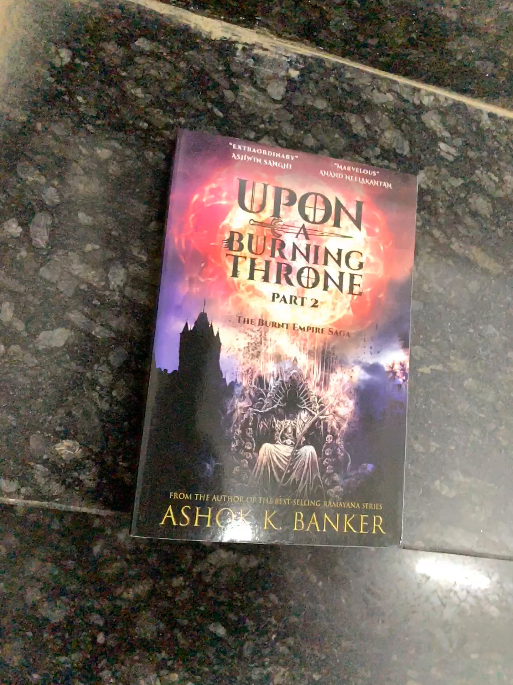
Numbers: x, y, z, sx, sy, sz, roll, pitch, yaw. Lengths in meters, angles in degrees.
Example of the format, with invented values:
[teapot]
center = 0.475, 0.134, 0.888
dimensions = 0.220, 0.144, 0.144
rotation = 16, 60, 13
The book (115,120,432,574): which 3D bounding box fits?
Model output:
[book]
center = 0.014, 0.004, 0.263
dimensions = 0.140, 0.030, 0.200
rotation = 6, 80, -13
